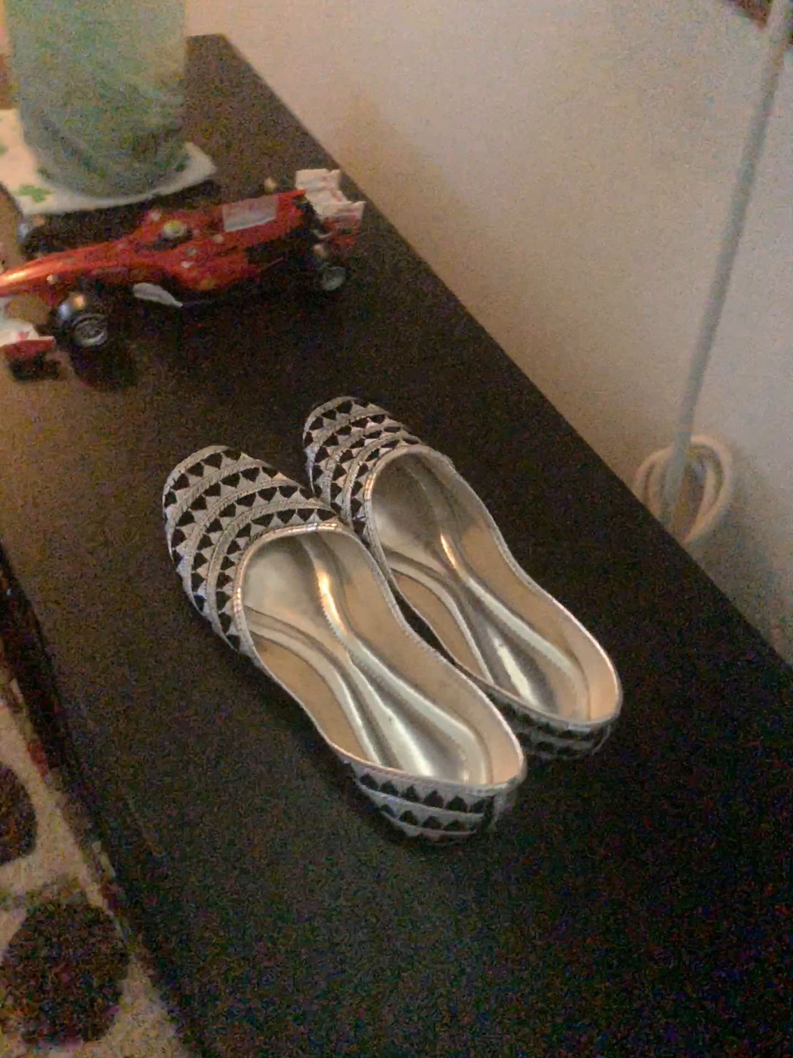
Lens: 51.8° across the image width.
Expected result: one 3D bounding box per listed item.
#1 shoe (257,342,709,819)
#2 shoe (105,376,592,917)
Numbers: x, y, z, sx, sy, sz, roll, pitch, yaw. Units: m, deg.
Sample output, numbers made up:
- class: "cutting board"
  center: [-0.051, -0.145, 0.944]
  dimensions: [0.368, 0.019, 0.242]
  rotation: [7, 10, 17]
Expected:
- class: "shoe"
  center: [0.037, 0.018, 0.476]
  dimensions: [0.096, 0.069, 0.271]
  rotation: [-28, 67, -31]
- class: "shoe"
  center: [-0.037, 0.048, 0.428]
  dimensions: [0.096, 0.069, 0.271]
  rotation: [-30, 68, -32]
